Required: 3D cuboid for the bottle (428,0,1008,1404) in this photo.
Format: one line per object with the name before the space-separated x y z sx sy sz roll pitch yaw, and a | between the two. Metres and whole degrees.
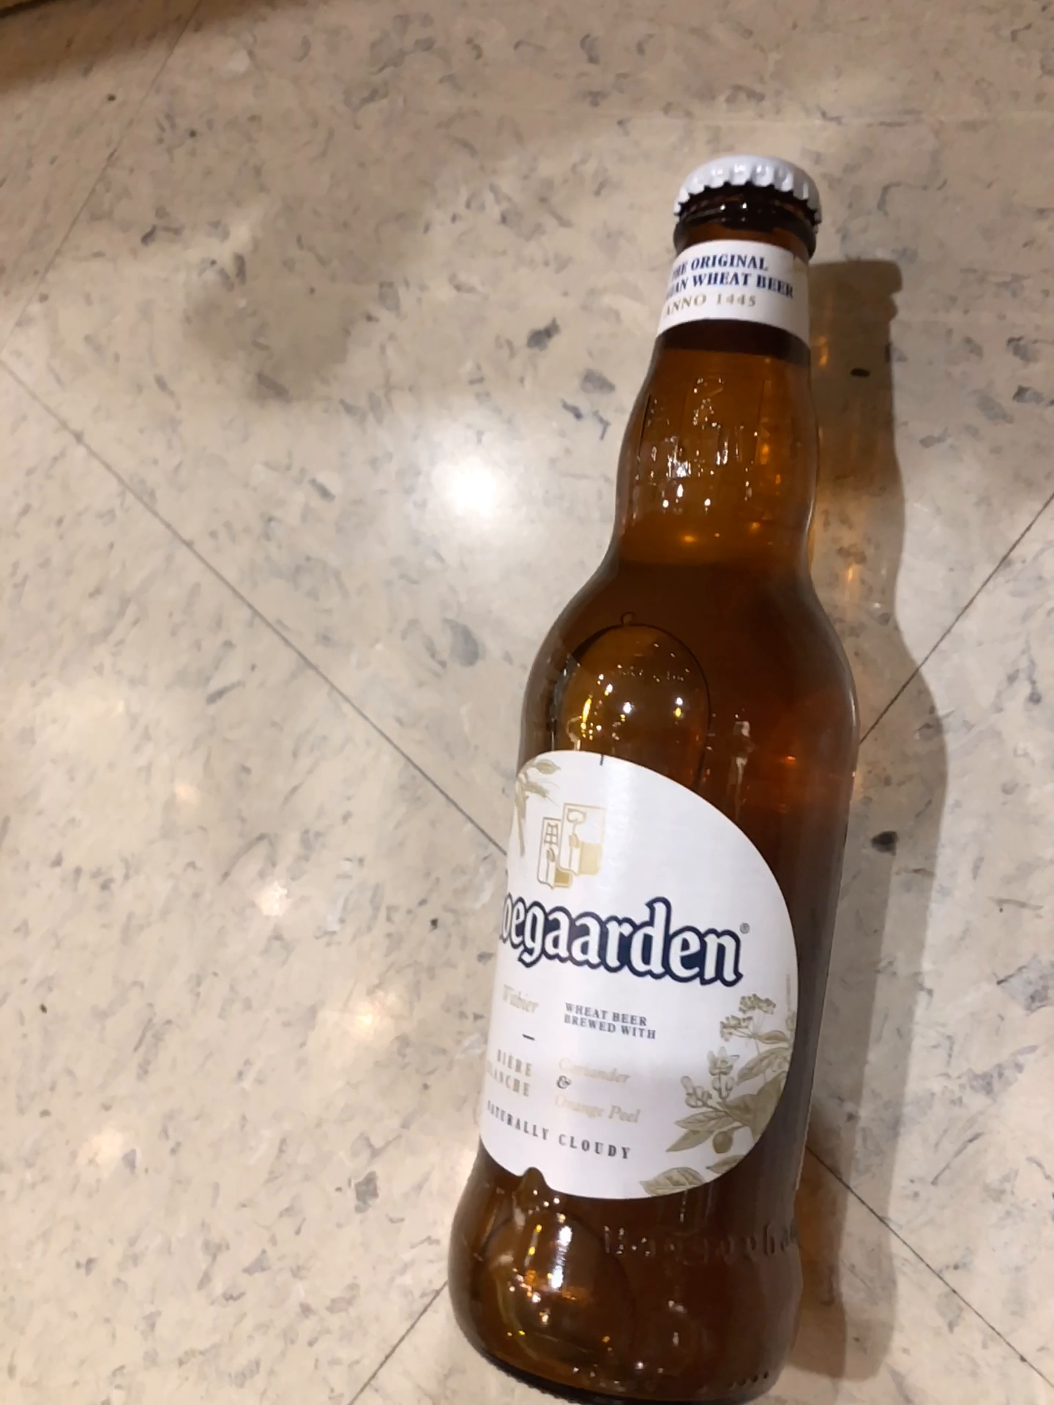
bottle | 0.039 0.002 0.217 0.070 0.050 0.230 3 83 30
